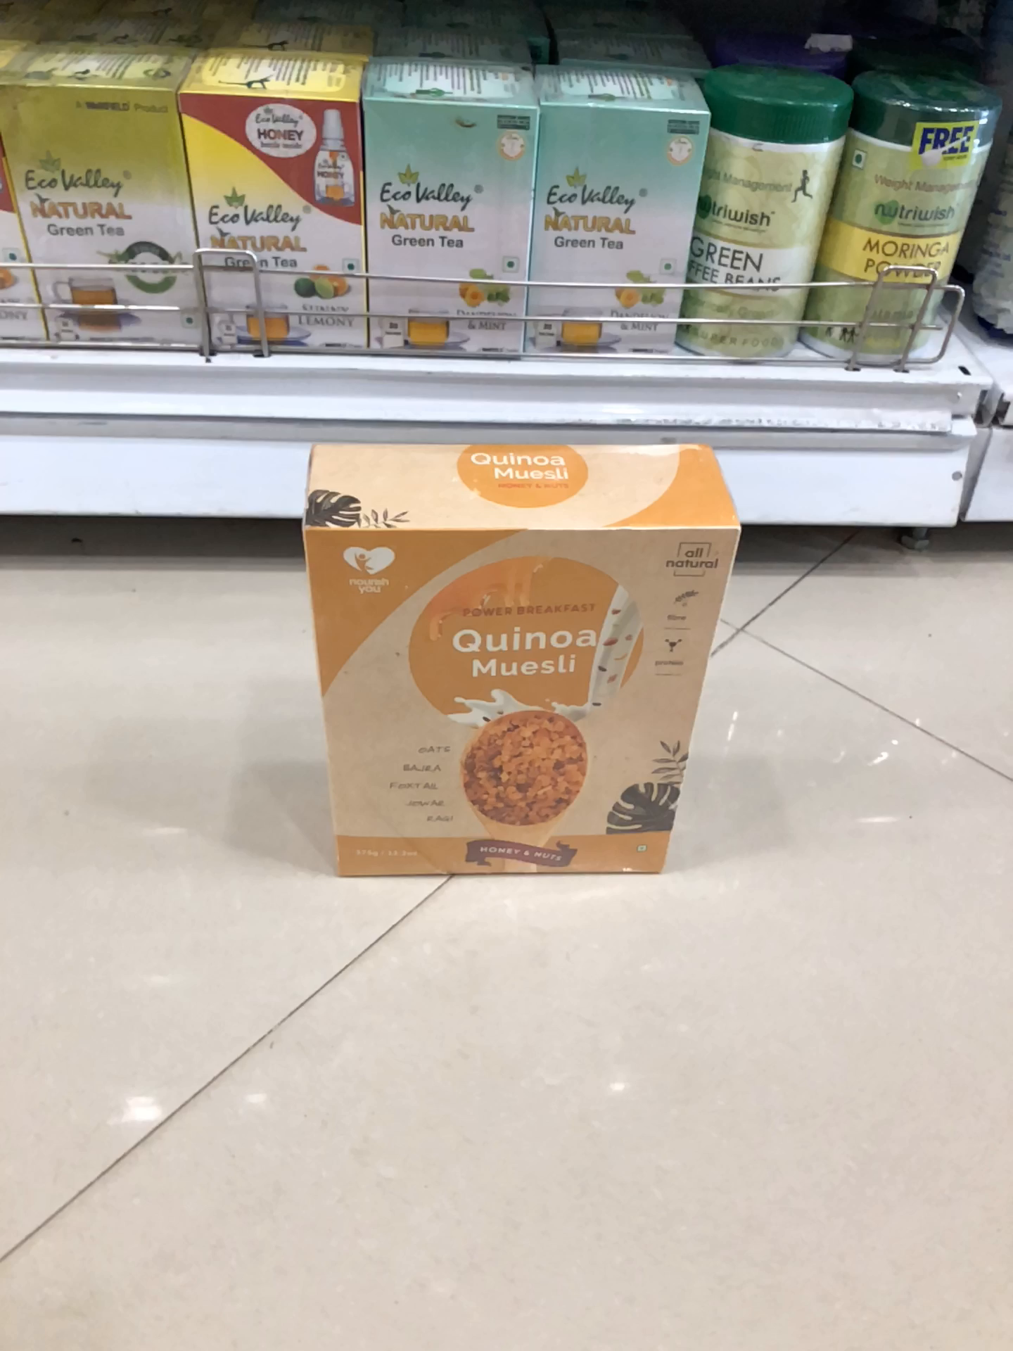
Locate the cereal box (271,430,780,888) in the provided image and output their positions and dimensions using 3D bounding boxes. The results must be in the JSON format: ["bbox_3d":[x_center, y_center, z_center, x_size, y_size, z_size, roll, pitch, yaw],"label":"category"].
[{"bbox_3d":[0.003,0.003,0.464,0.170,0.199,0.060,0,43,-3],"label":"cereal box"}]
